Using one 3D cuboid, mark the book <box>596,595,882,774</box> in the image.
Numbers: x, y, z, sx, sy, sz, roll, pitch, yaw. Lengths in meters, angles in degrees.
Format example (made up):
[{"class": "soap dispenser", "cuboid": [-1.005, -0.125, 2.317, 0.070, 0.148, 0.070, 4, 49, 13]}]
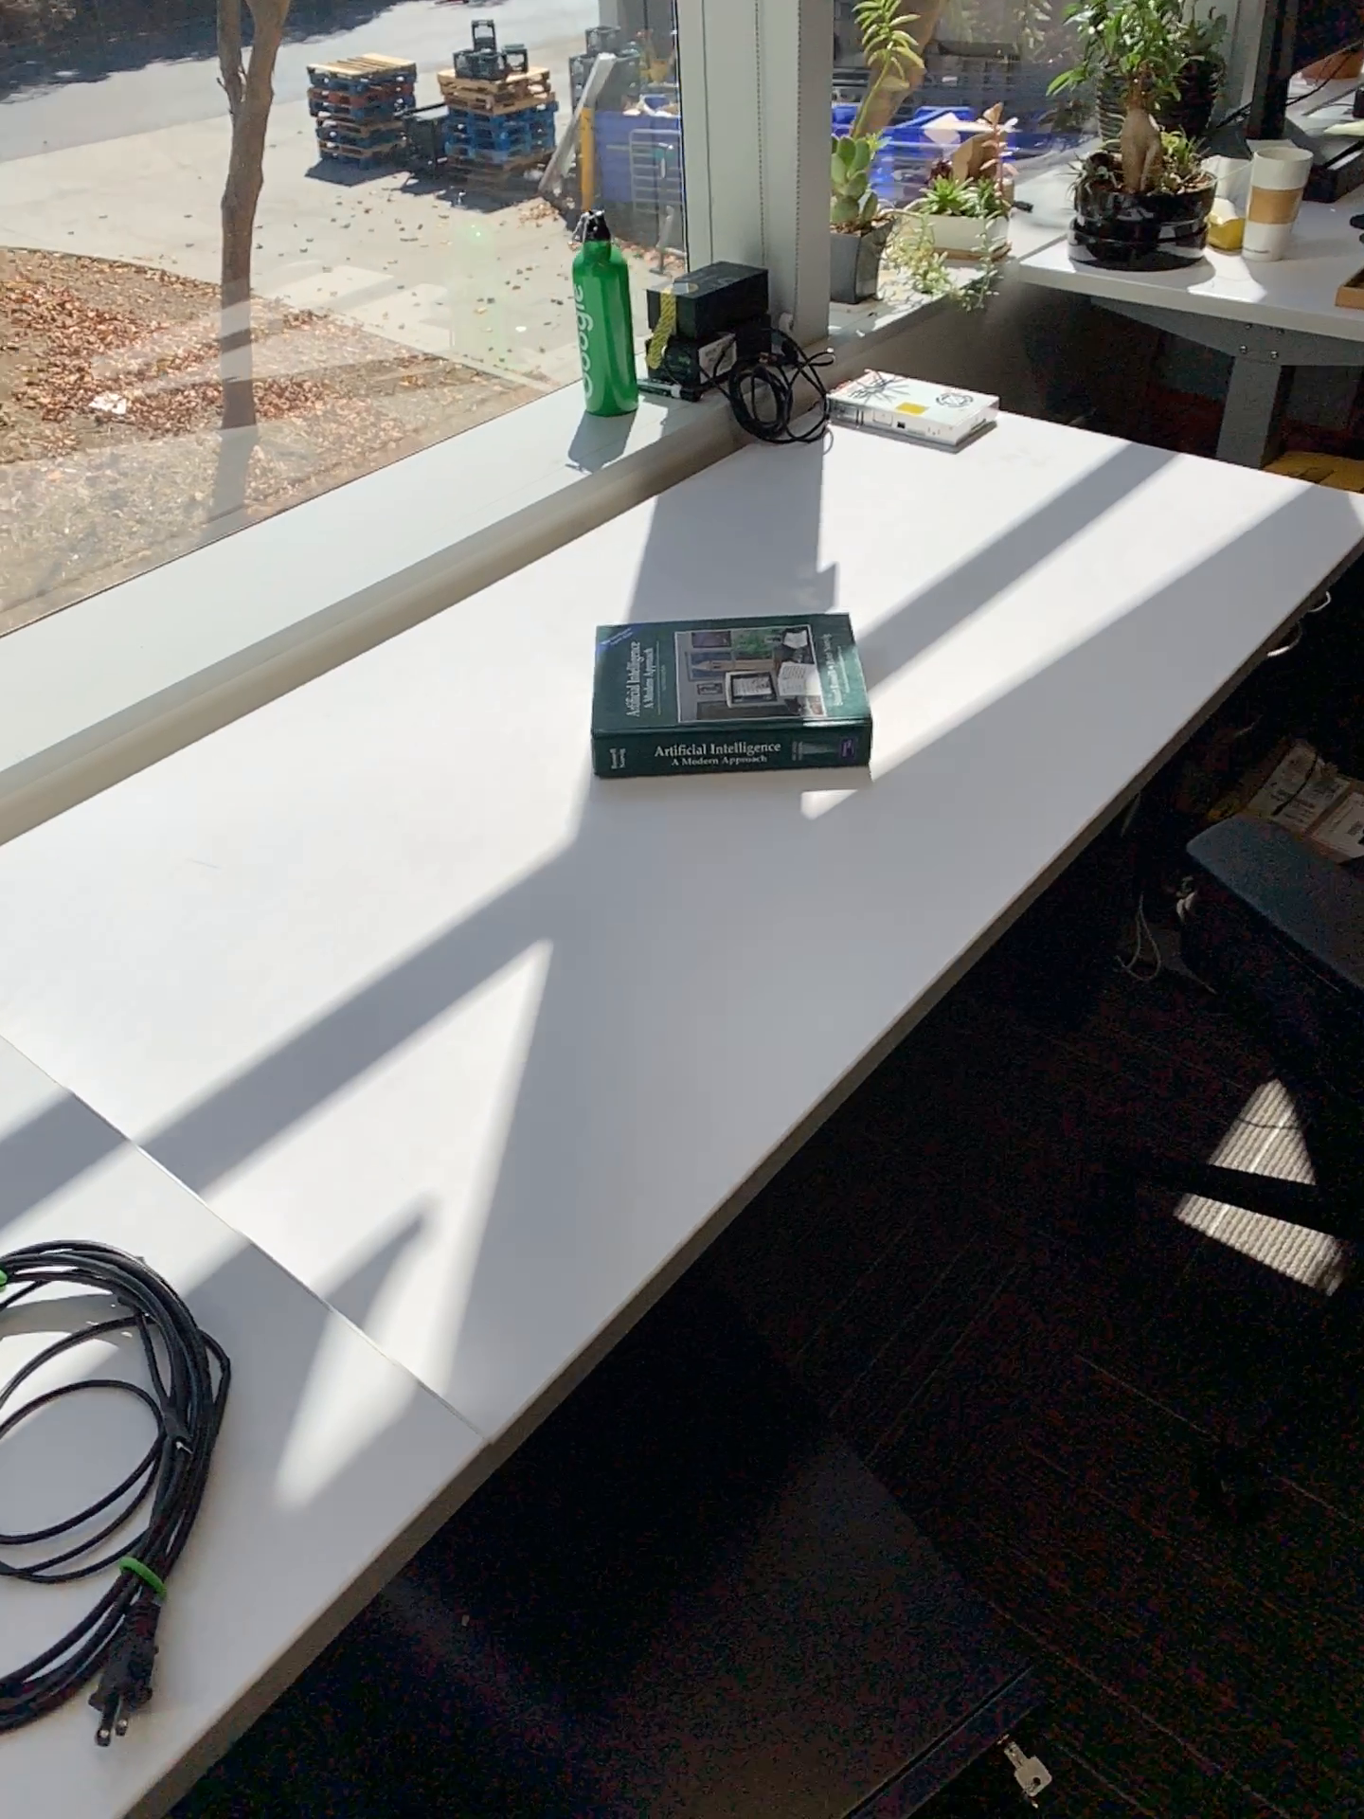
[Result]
[{"class": "book", "cuboid": [0.050, -0.225, 1.368, 0.260, 0.050, 0.231, -3, 40, 1]}]
